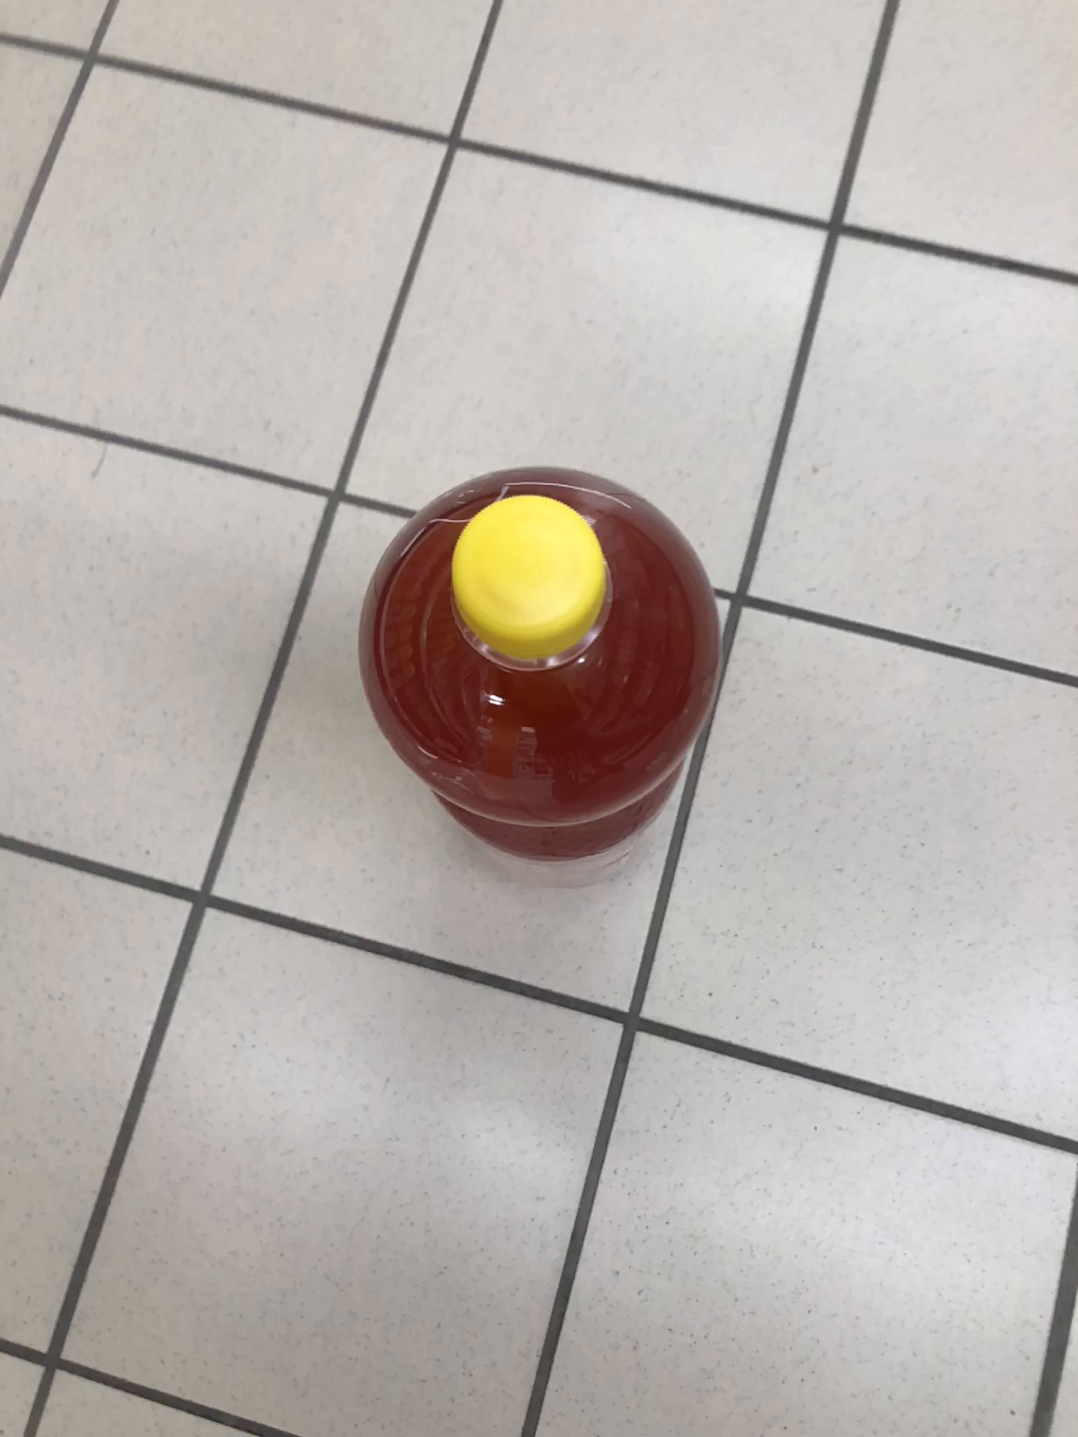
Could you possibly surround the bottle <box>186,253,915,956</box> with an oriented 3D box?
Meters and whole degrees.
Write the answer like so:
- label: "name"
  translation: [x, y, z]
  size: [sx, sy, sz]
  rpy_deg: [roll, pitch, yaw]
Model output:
- label: "bottle"
  translation: [0.009, 0.007, 0.377]
  size: [0.100, 0.330, 0.090]
  rpy_deg: [29, 81, 8]
